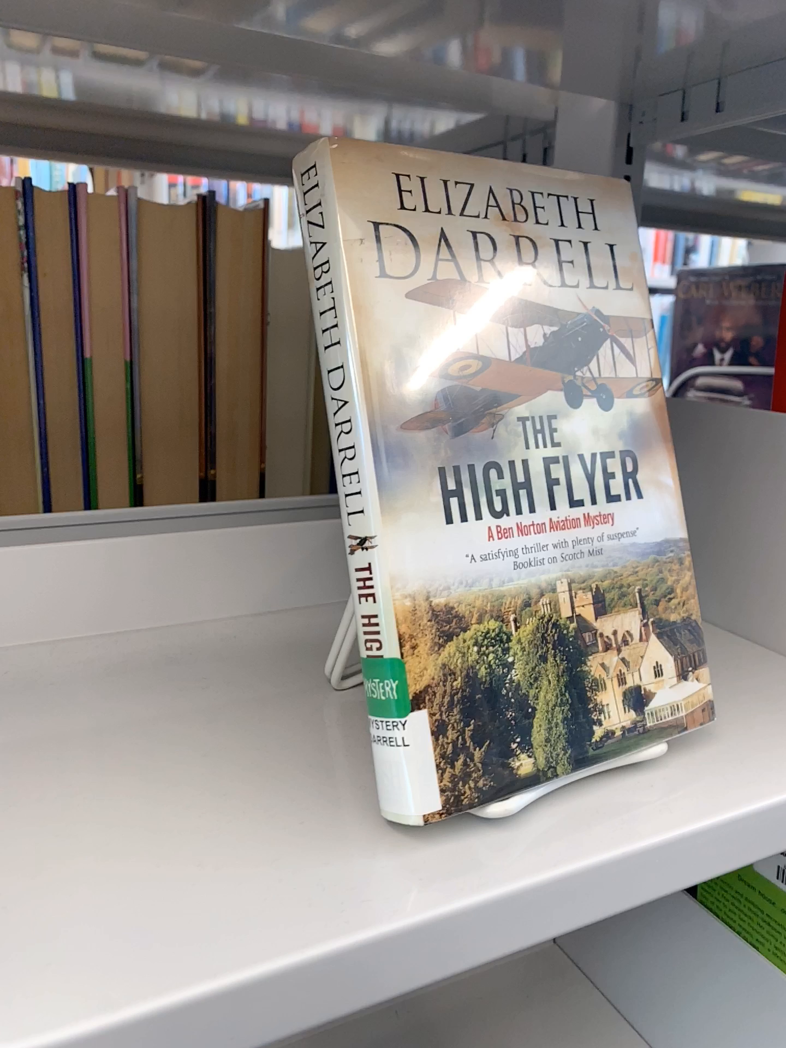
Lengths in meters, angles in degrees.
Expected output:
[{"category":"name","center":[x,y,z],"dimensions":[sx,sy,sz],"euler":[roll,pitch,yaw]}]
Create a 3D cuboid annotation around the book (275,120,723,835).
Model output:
[{"category":"book","center":[0.046,-0.022,0.297],"dimensions":[0.151,0.214,0.031],"euler":[-7,-1,-33]}]
